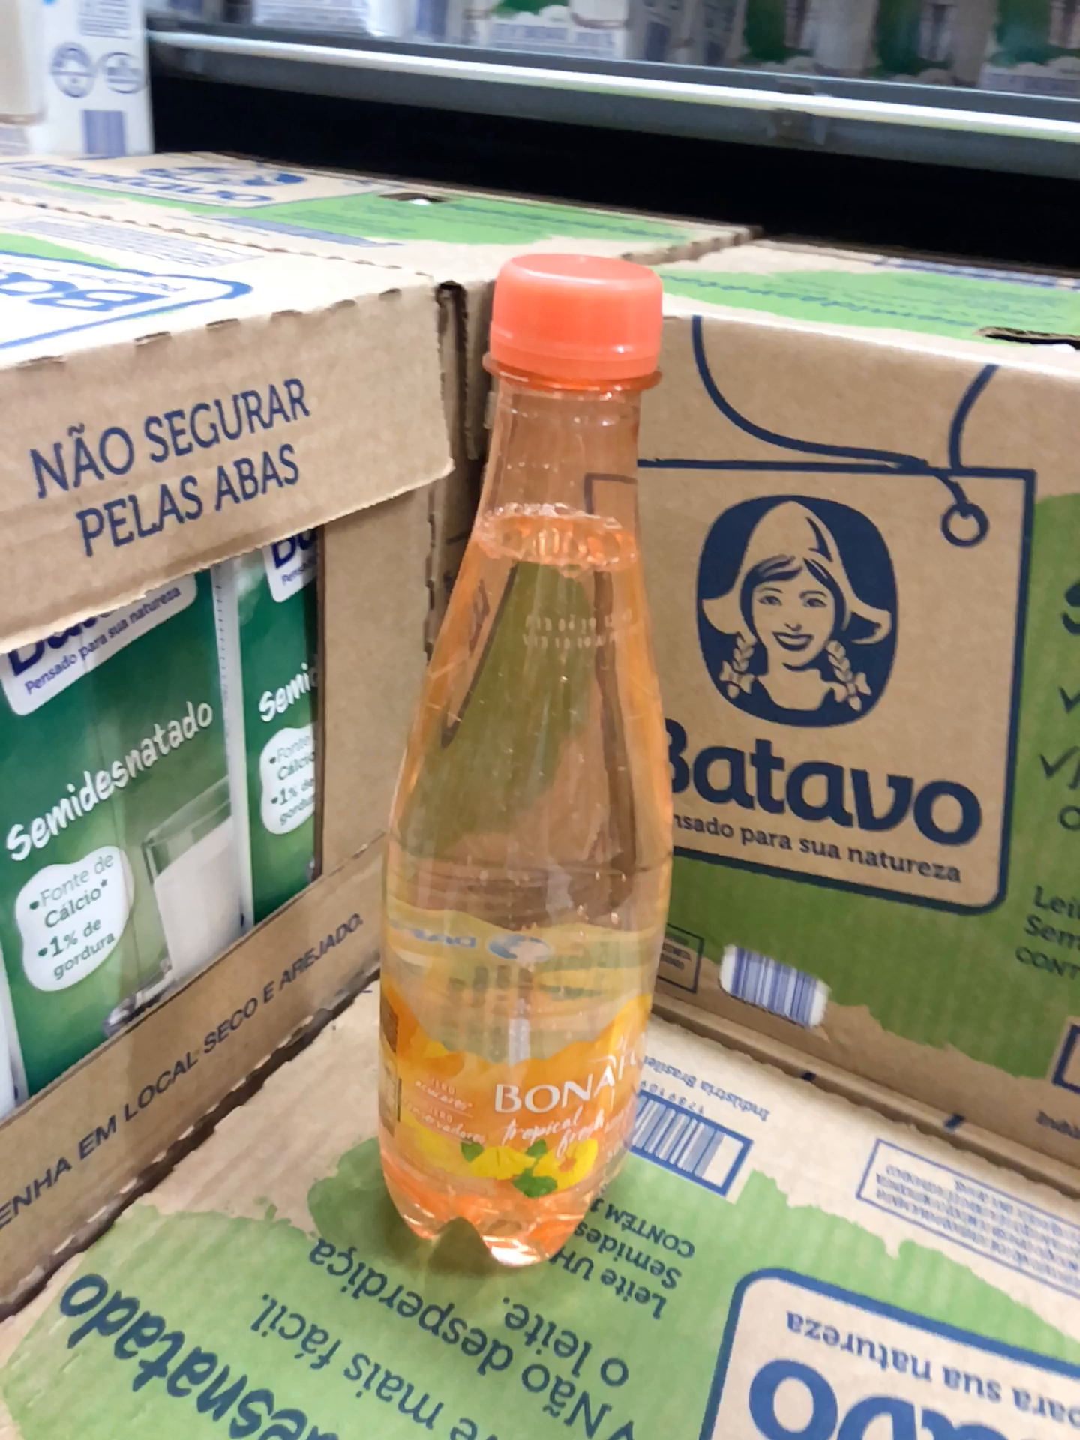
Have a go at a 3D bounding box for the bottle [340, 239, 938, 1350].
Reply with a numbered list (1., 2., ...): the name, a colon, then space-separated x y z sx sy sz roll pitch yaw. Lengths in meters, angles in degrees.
1. bottle: 0.006 0.022 0.266 0.080 0.228 0.070 -8 31 -25
